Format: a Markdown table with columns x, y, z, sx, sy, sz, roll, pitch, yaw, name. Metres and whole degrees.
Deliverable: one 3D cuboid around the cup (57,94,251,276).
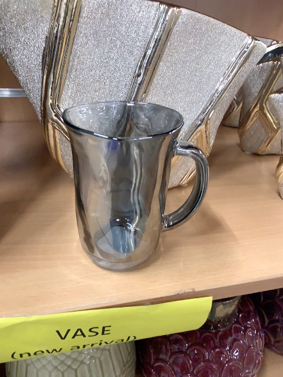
| x | y | z | sx | sy | sz | roll | pitch | yaw | name |
| --- | --- | --- | --- | --- | --- | --- | --- | --- | --- |
| 0.001 | -0.005 | 0.219 | 0.110 | 0.110 | 0.070 | -2 | 31 | -10 | cup |
